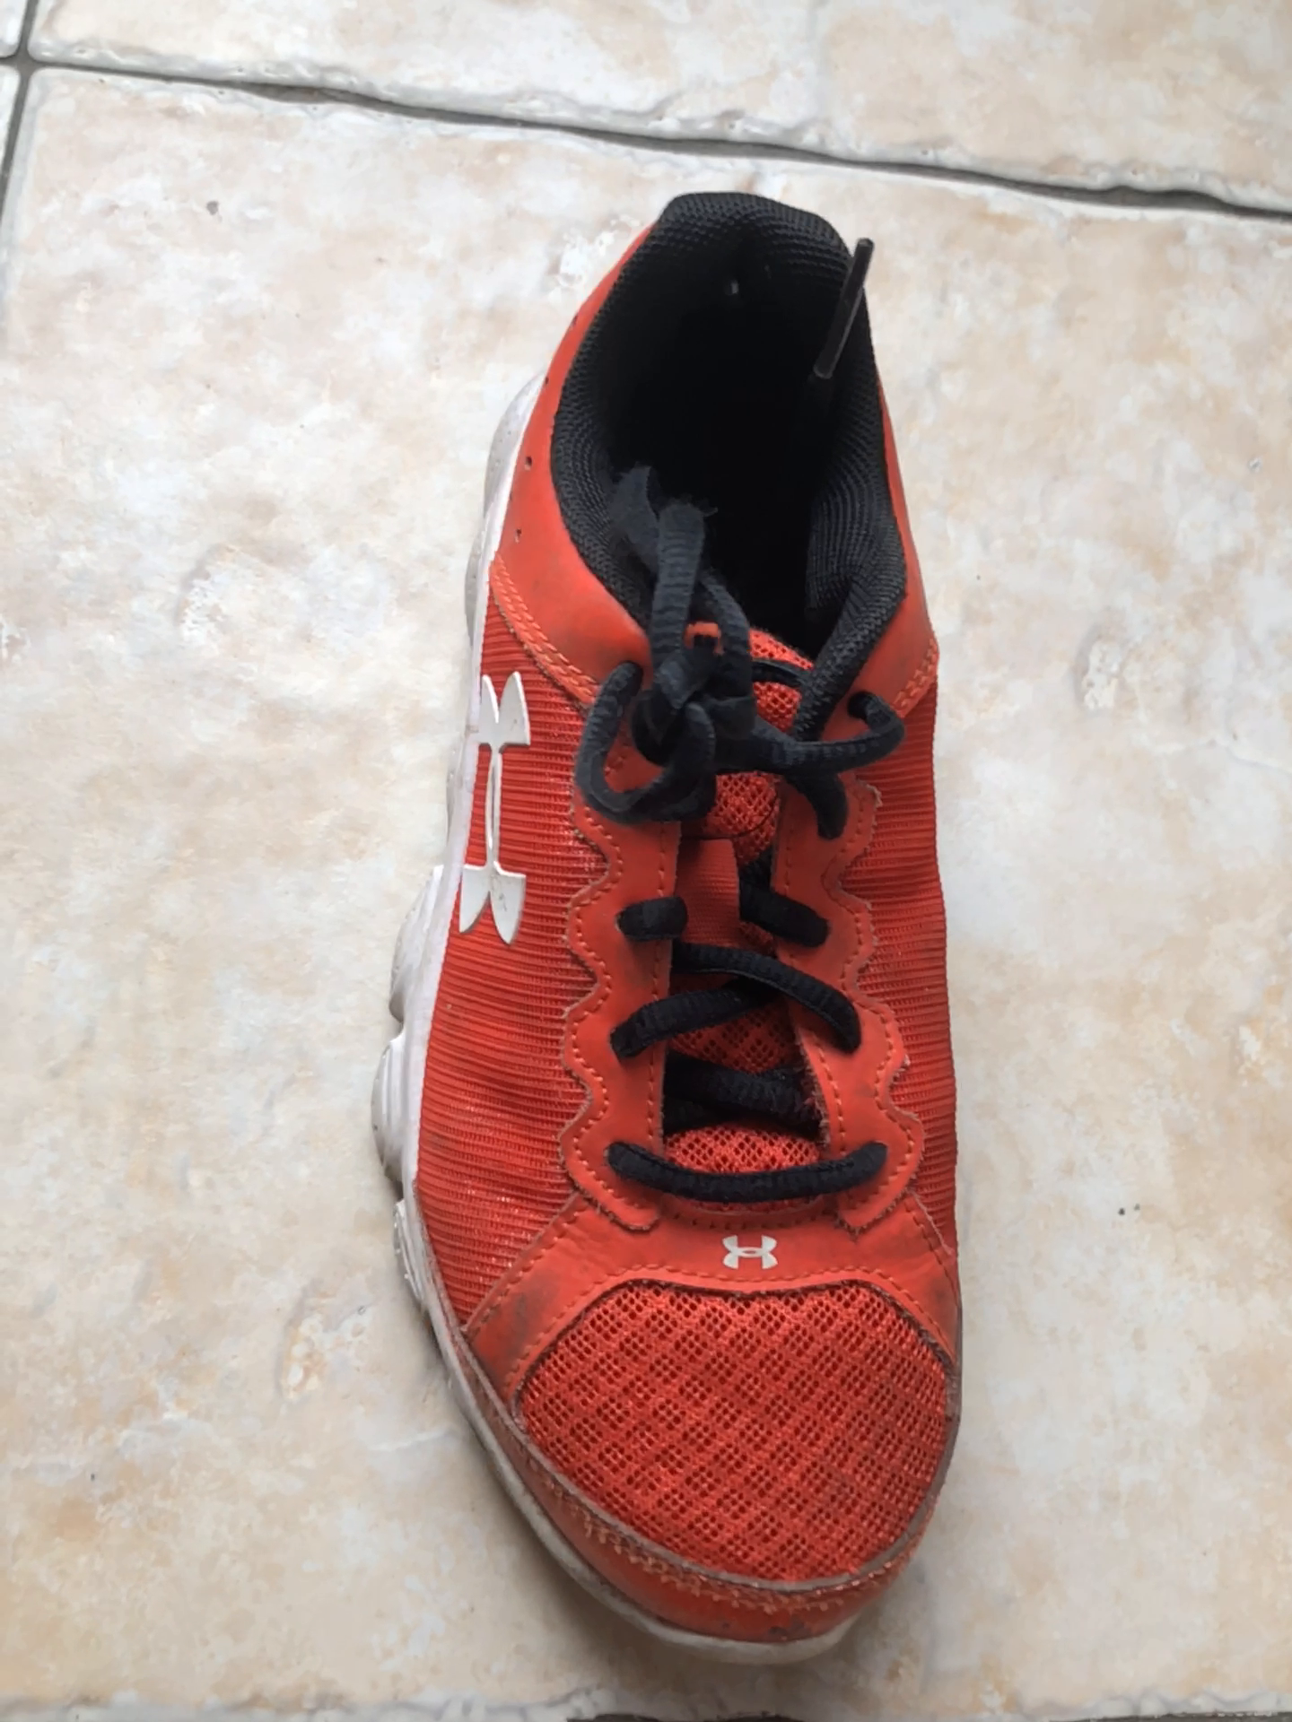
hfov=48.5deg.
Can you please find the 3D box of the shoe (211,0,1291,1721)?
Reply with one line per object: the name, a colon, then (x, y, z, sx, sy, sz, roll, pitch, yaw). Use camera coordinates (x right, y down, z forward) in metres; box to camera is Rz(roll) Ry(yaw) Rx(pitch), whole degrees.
shoe: (0.007, -0.001, 0.211, 0.100, 0.100, 0.240, 2, 74, -6)
